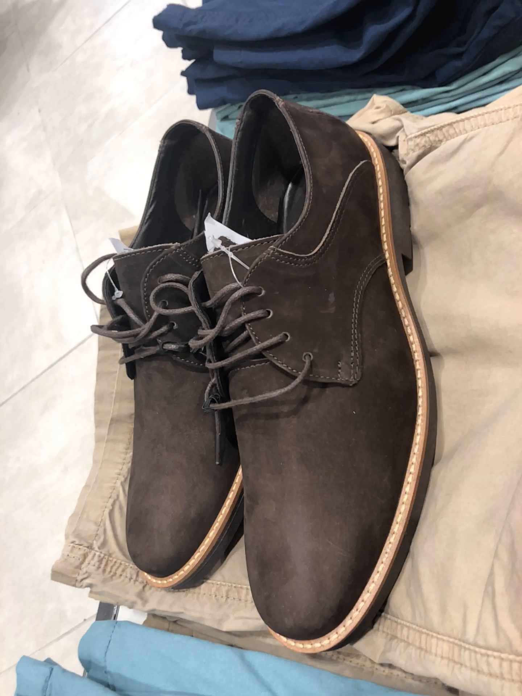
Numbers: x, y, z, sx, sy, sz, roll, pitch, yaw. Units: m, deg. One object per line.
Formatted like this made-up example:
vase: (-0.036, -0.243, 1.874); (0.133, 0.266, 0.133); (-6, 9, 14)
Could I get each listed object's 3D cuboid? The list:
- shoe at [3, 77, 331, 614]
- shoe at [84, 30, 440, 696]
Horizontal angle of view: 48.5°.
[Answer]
shoe: (-0.049, 0.001, 0.349); (0.110, 0.109, 0.260); (-1, 77, 41)
shoe: (0.012, 0.011, 0.279); (0.100, 0.109, 0.260); (-11, 67, 43)
